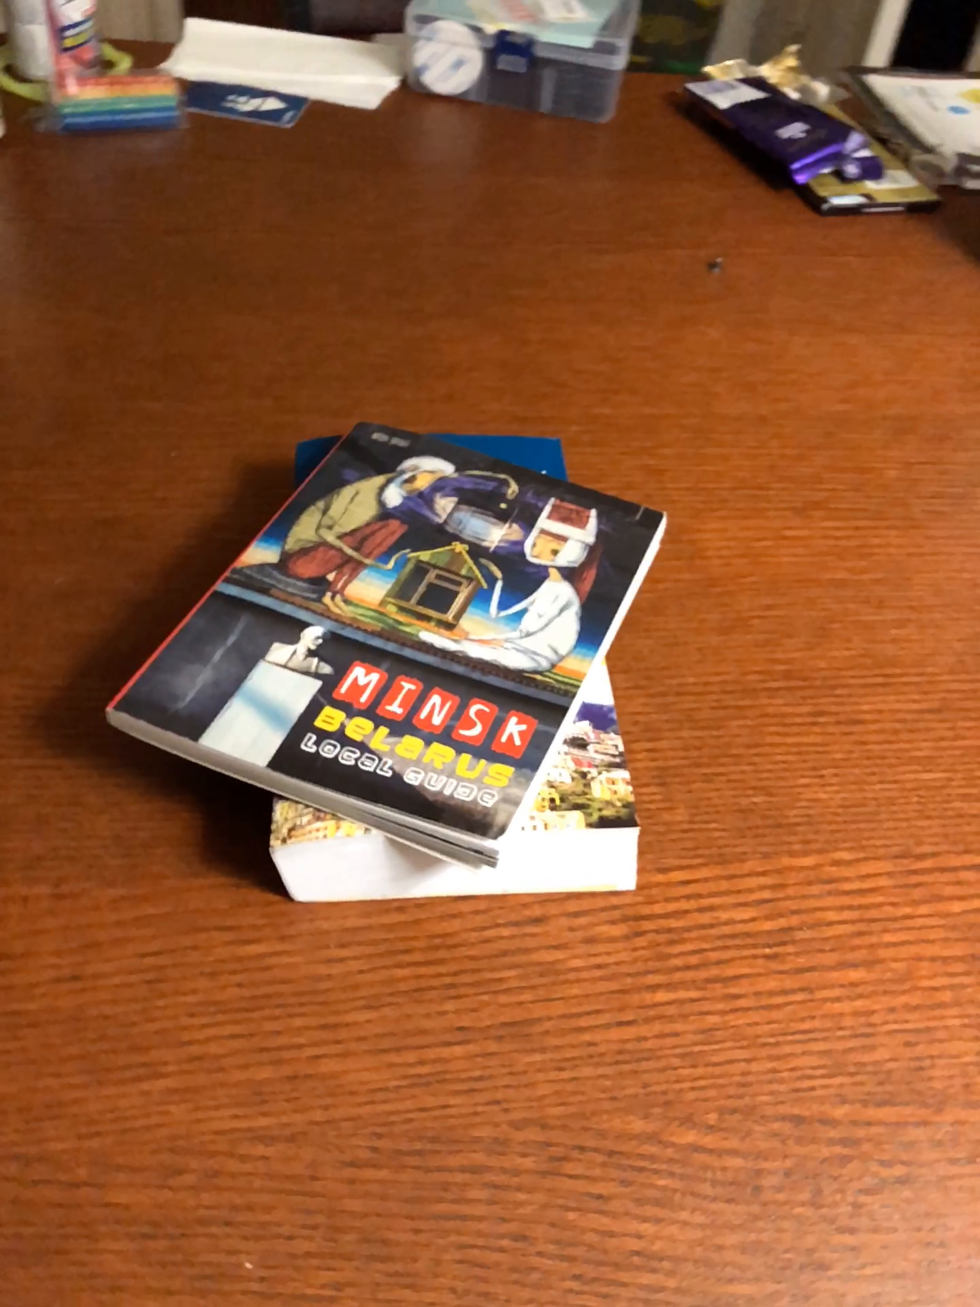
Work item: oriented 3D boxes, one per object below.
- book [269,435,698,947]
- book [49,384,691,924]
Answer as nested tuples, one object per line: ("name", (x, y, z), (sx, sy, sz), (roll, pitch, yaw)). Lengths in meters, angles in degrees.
("book", (-0.010, 0.000, 0.416), (0.130, 0.040, 0.221), (0, 47, -7))
("book", (-0.027, -0.017, 0.377), (0.150, 0.020, 0.191), (19, 48, 11))
